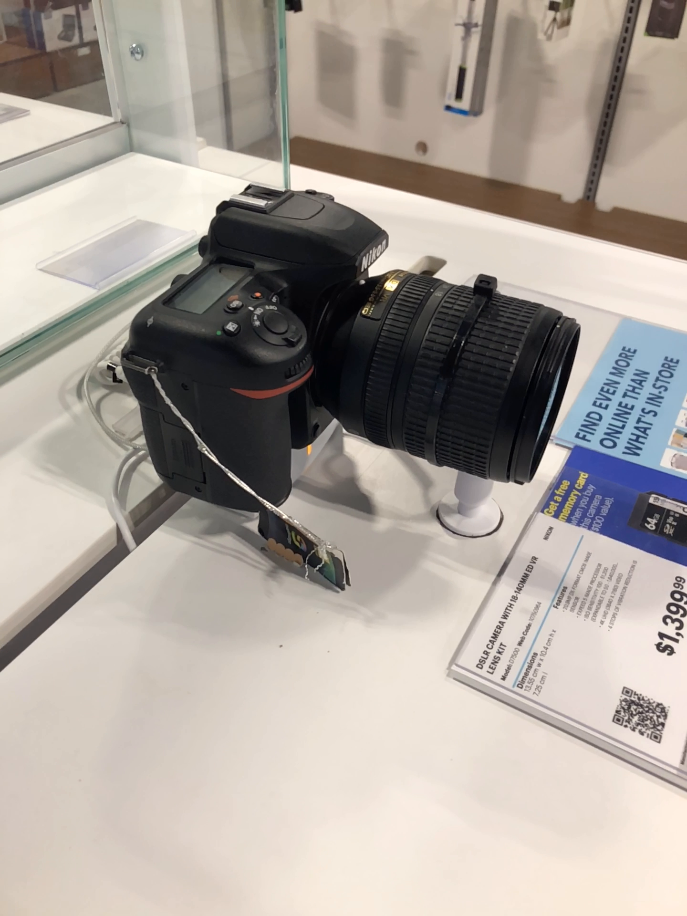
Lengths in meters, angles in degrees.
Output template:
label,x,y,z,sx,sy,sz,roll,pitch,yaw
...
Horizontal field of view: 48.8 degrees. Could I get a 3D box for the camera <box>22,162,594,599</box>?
label,x,y,z,sx,sy,sz,roll,pitch,yaw
camera,-0.009,-0.049,0.338,0.190,0.089,0.141,18,43,19
